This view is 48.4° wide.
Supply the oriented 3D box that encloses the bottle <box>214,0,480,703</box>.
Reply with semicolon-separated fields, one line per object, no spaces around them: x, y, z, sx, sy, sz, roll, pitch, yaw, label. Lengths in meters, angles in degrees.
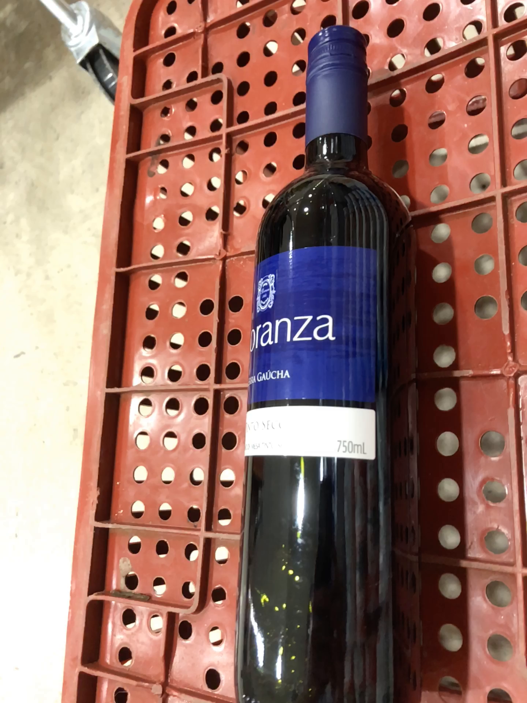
0.031;-0.010;0.251;0.080;0.060;0.300;-16;69;54;bottle
